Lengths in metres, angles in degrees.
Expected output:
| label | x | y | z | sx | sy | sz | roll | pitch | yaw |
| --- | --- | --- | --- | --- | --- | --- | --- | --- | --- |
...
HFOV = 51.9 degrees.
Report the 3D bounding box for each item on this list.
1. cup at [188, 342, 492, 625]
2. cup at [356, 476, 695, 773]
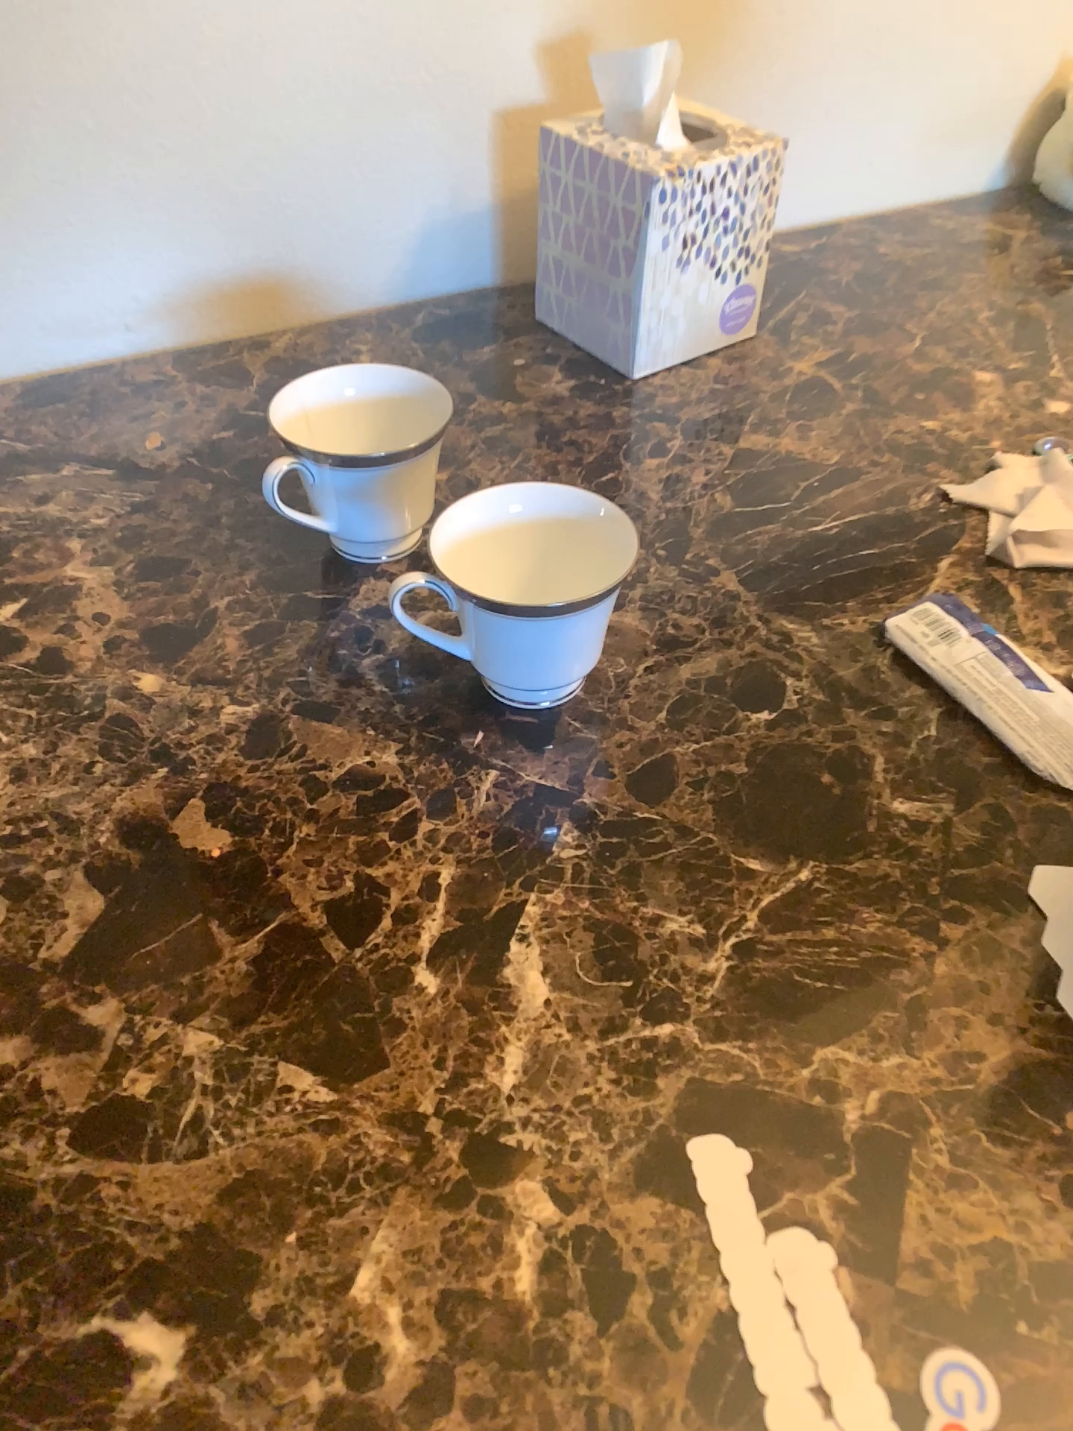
| label | x | y | z | sx | sy | sz | roll | pitch | yaw |
| --- | --- | --- | --- | --- | --- | --- | --- | --- | --- |
| cup | -0.090 | -0.116 | 0.535 | 0.090 | 0.070 | 0.110 | 23 | 48 | 21 |
| cup | -0.008 | -0.041 | 0.472 | 0.120 | 0.070 | 0.091 | -9 | 45 | -10 |
